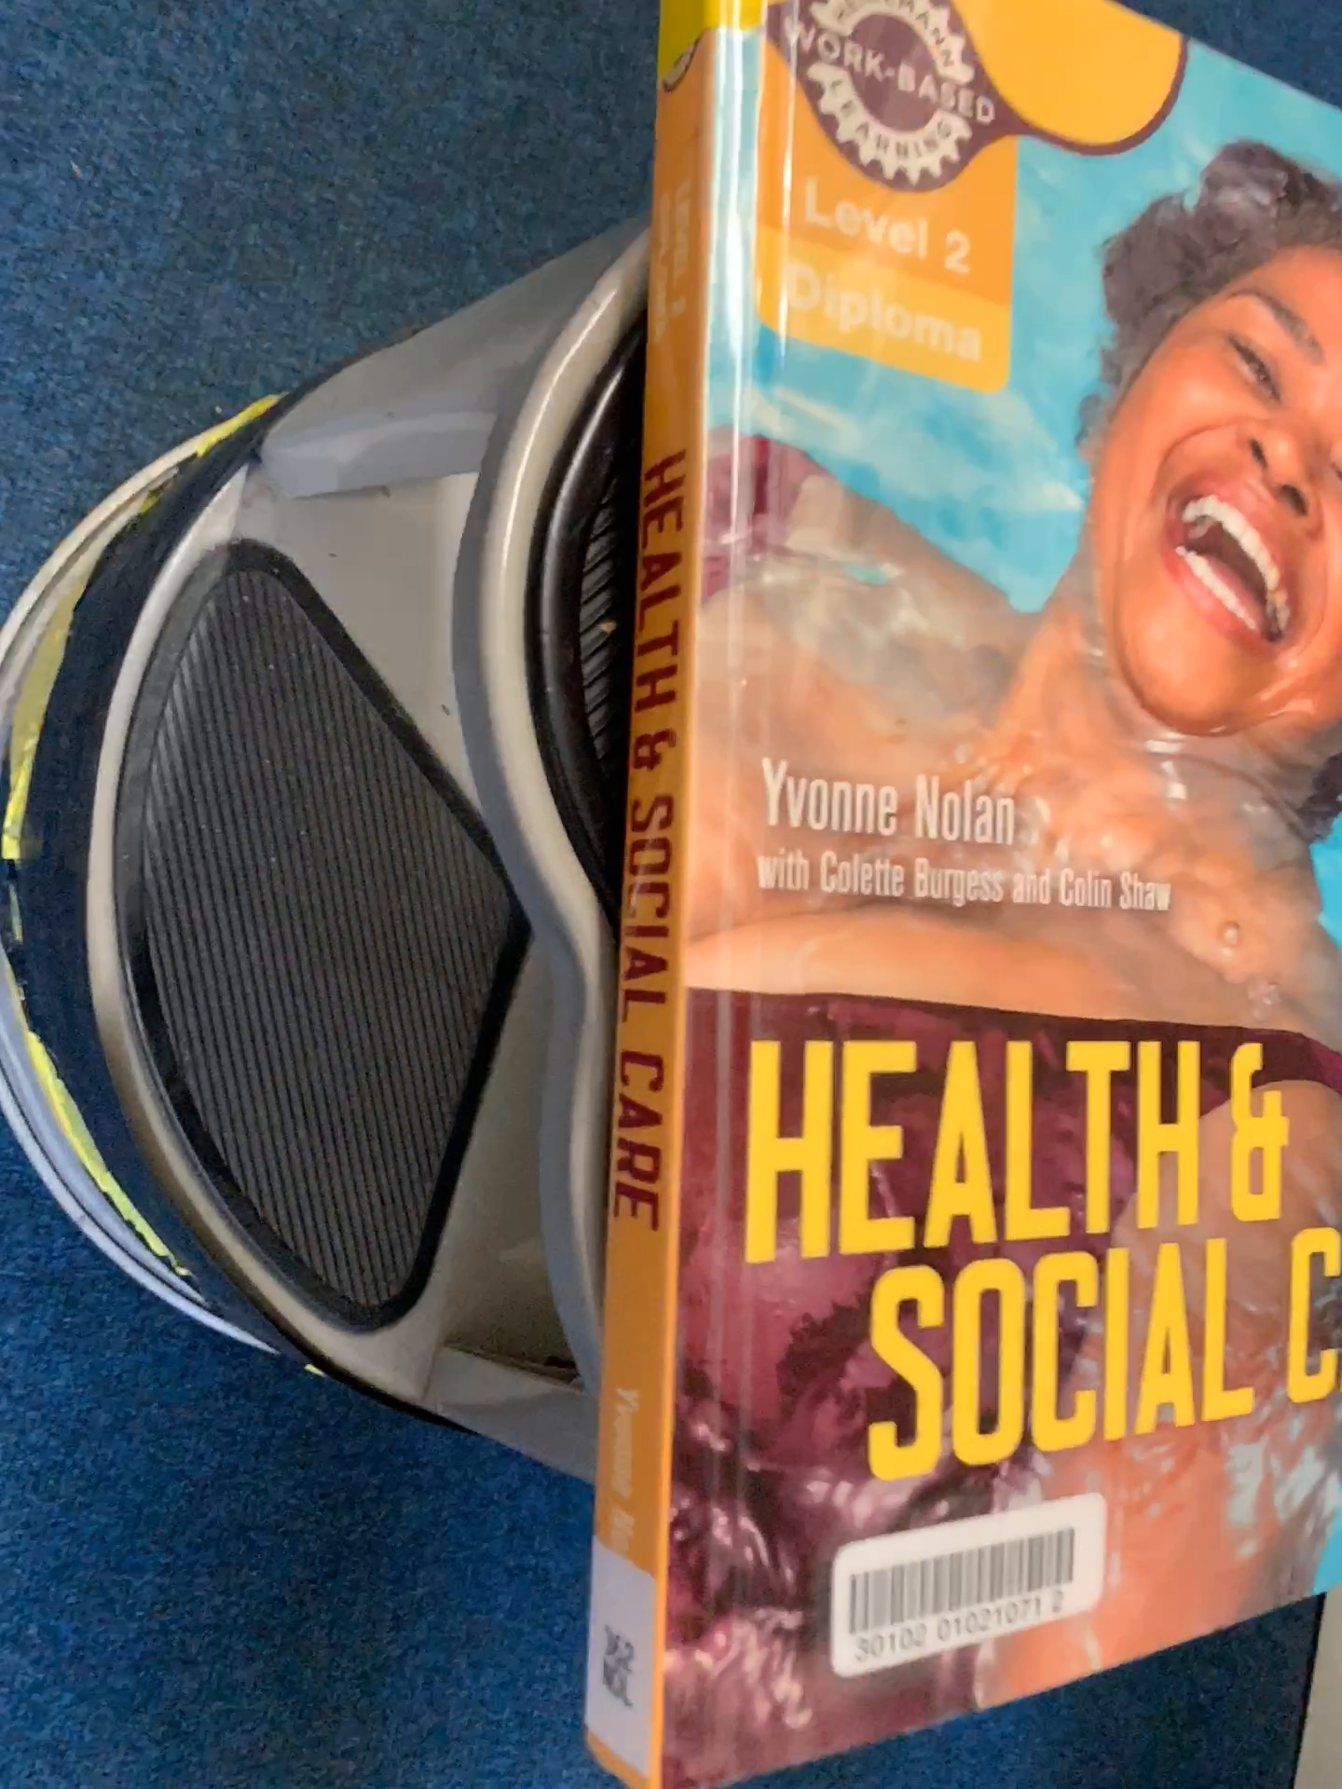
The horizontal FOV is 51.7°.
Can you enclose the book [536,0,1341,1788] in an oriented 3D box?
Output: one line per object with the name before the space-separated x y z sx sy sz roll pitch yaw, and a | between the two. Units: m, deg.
book | 0.081 -0.009 0.225 0.201 0.030 0.270 3 88 -28
